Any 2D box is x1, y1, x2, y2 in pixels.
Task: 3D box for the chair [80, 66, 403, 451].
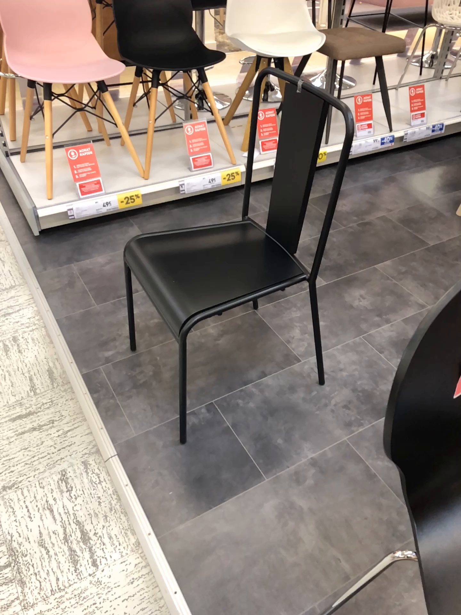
[{"bbox_3d":[0.005,-0.133,1.375,0.572,0.815,0.441,-19,44,-23],"label":"chair"}]
